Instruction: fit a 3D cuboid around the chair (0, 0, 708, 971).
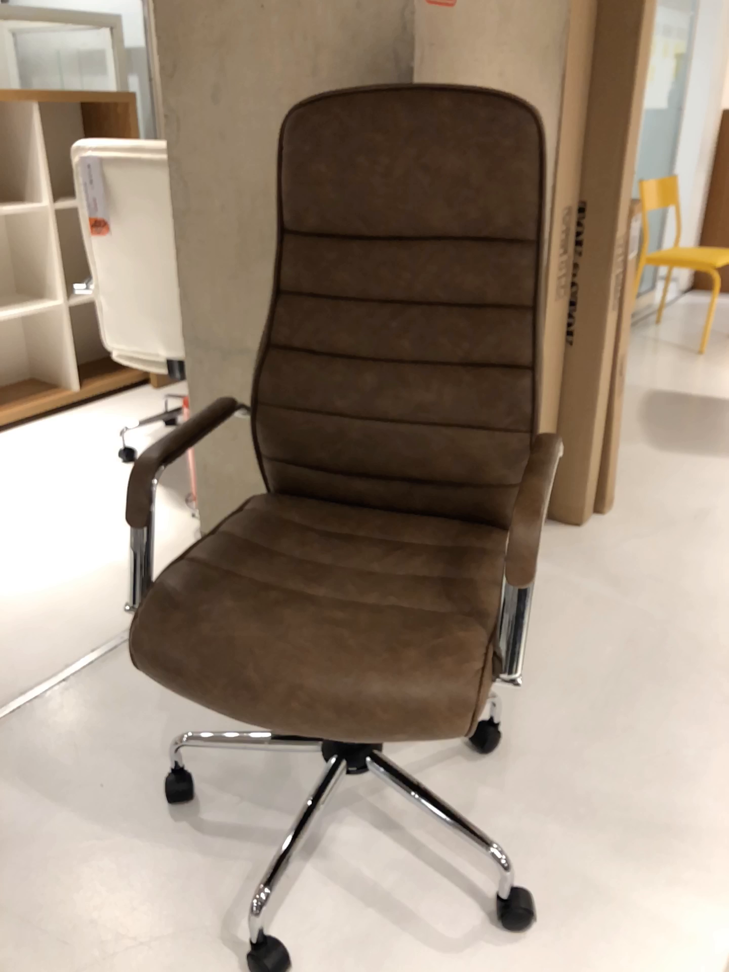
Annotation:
[{"bbox_3d":[0.012,-0.029,1.052,0.640,0.963,0.634,9,26,18],"label":"chair"}]
